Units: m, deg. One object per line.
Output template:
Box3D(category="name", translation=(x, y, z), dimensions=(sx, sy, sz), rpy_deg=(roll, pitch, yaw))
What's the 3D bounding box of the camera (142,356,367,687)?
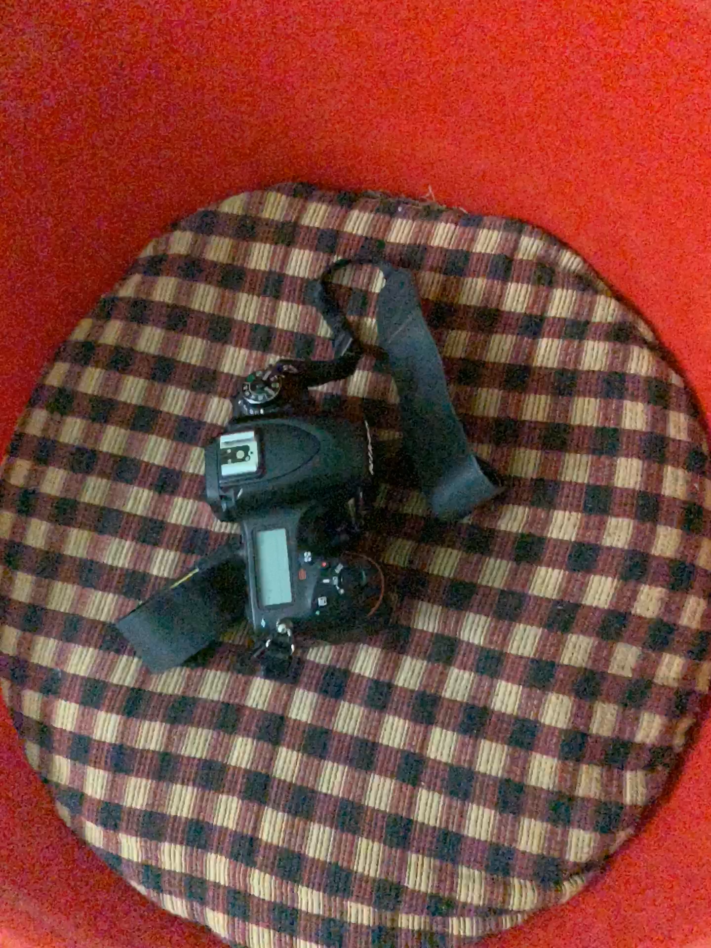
Box3D(category="camera", translation=(-0.046, 0.025, 0.367), dimensions=(0.080, 0.090, 0.140), rpy_deg=(-5, 83, 10))
